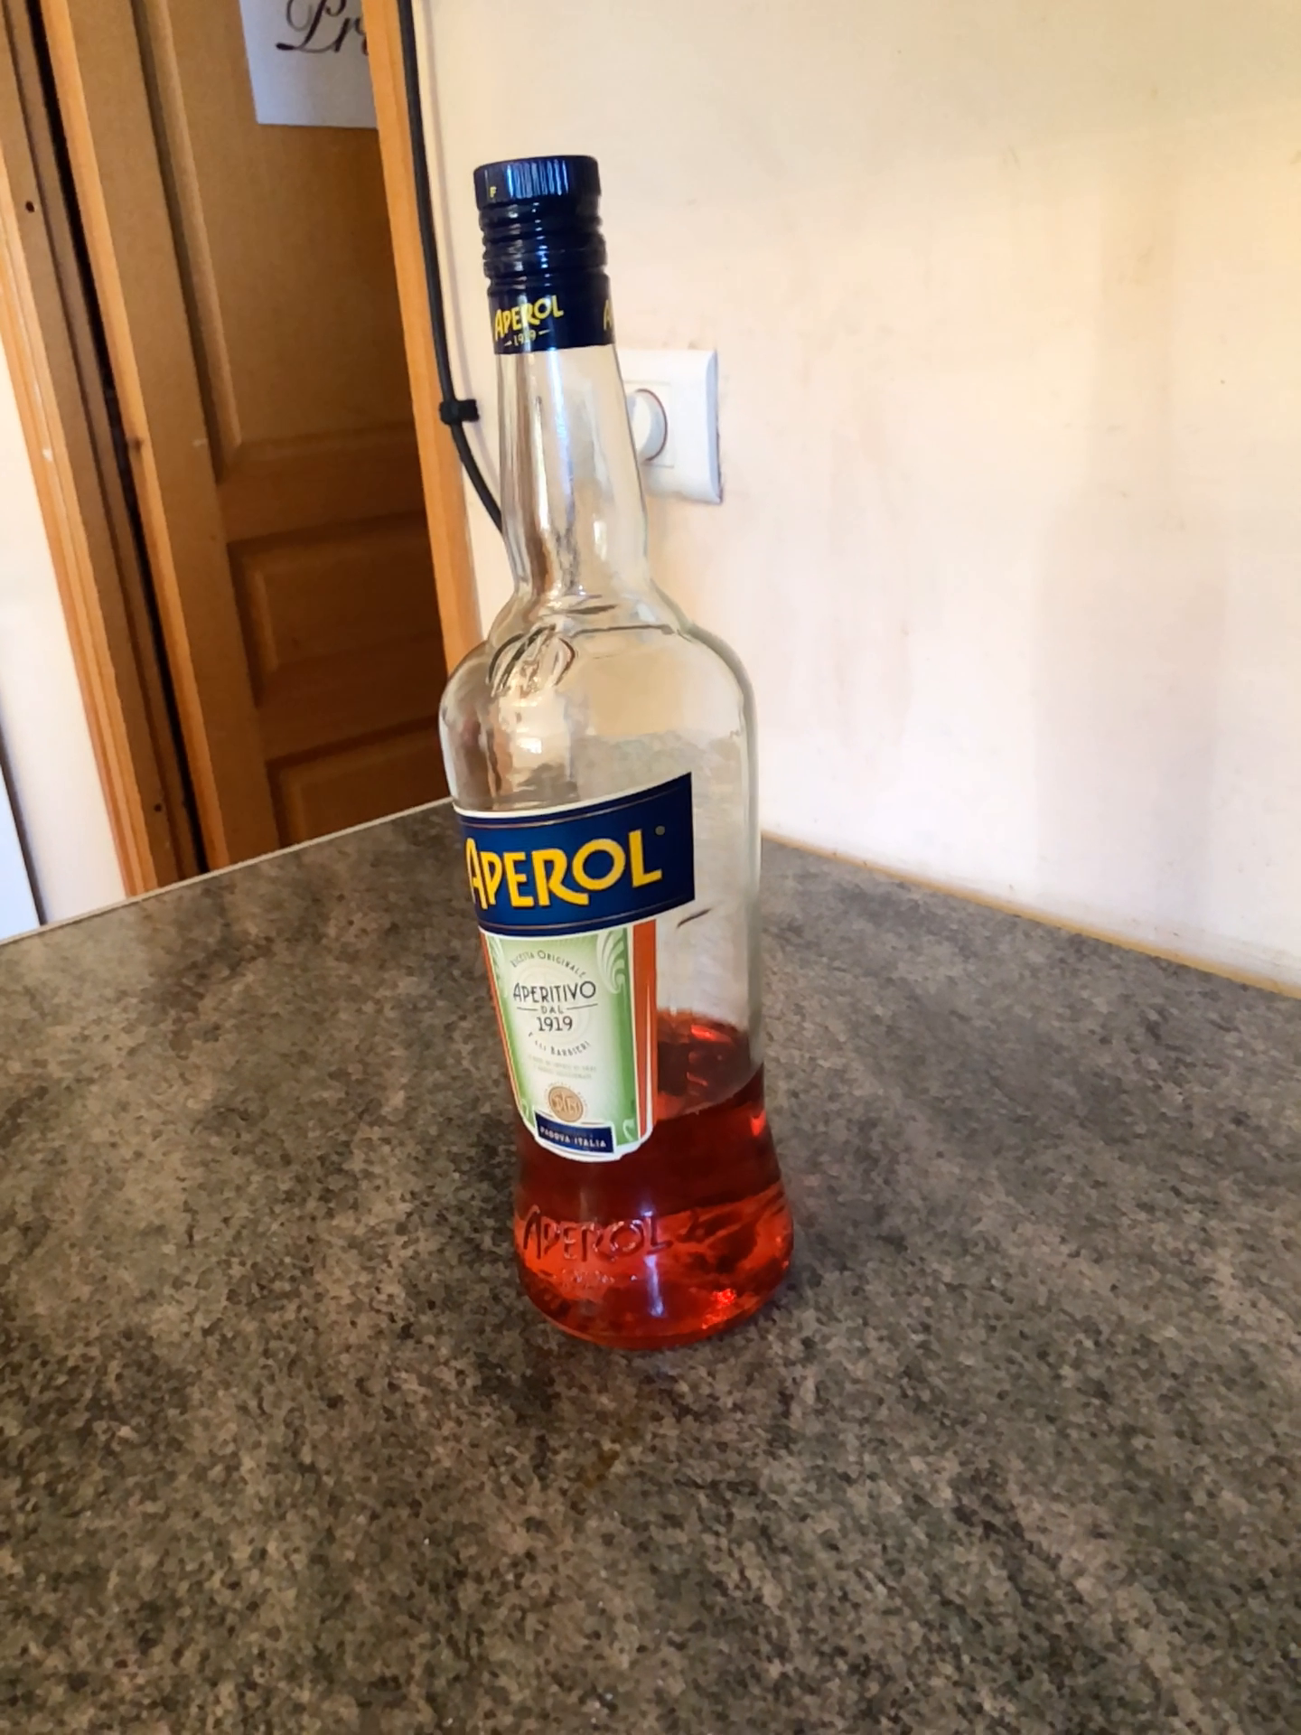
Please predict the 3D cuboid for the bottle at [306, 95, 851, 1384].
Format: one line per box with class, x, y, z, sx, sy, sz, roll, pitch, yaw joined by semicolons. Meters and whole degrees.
bottle;-0.007;-0.027;0.410;0.090;0.328;0.091;-4;20;2
